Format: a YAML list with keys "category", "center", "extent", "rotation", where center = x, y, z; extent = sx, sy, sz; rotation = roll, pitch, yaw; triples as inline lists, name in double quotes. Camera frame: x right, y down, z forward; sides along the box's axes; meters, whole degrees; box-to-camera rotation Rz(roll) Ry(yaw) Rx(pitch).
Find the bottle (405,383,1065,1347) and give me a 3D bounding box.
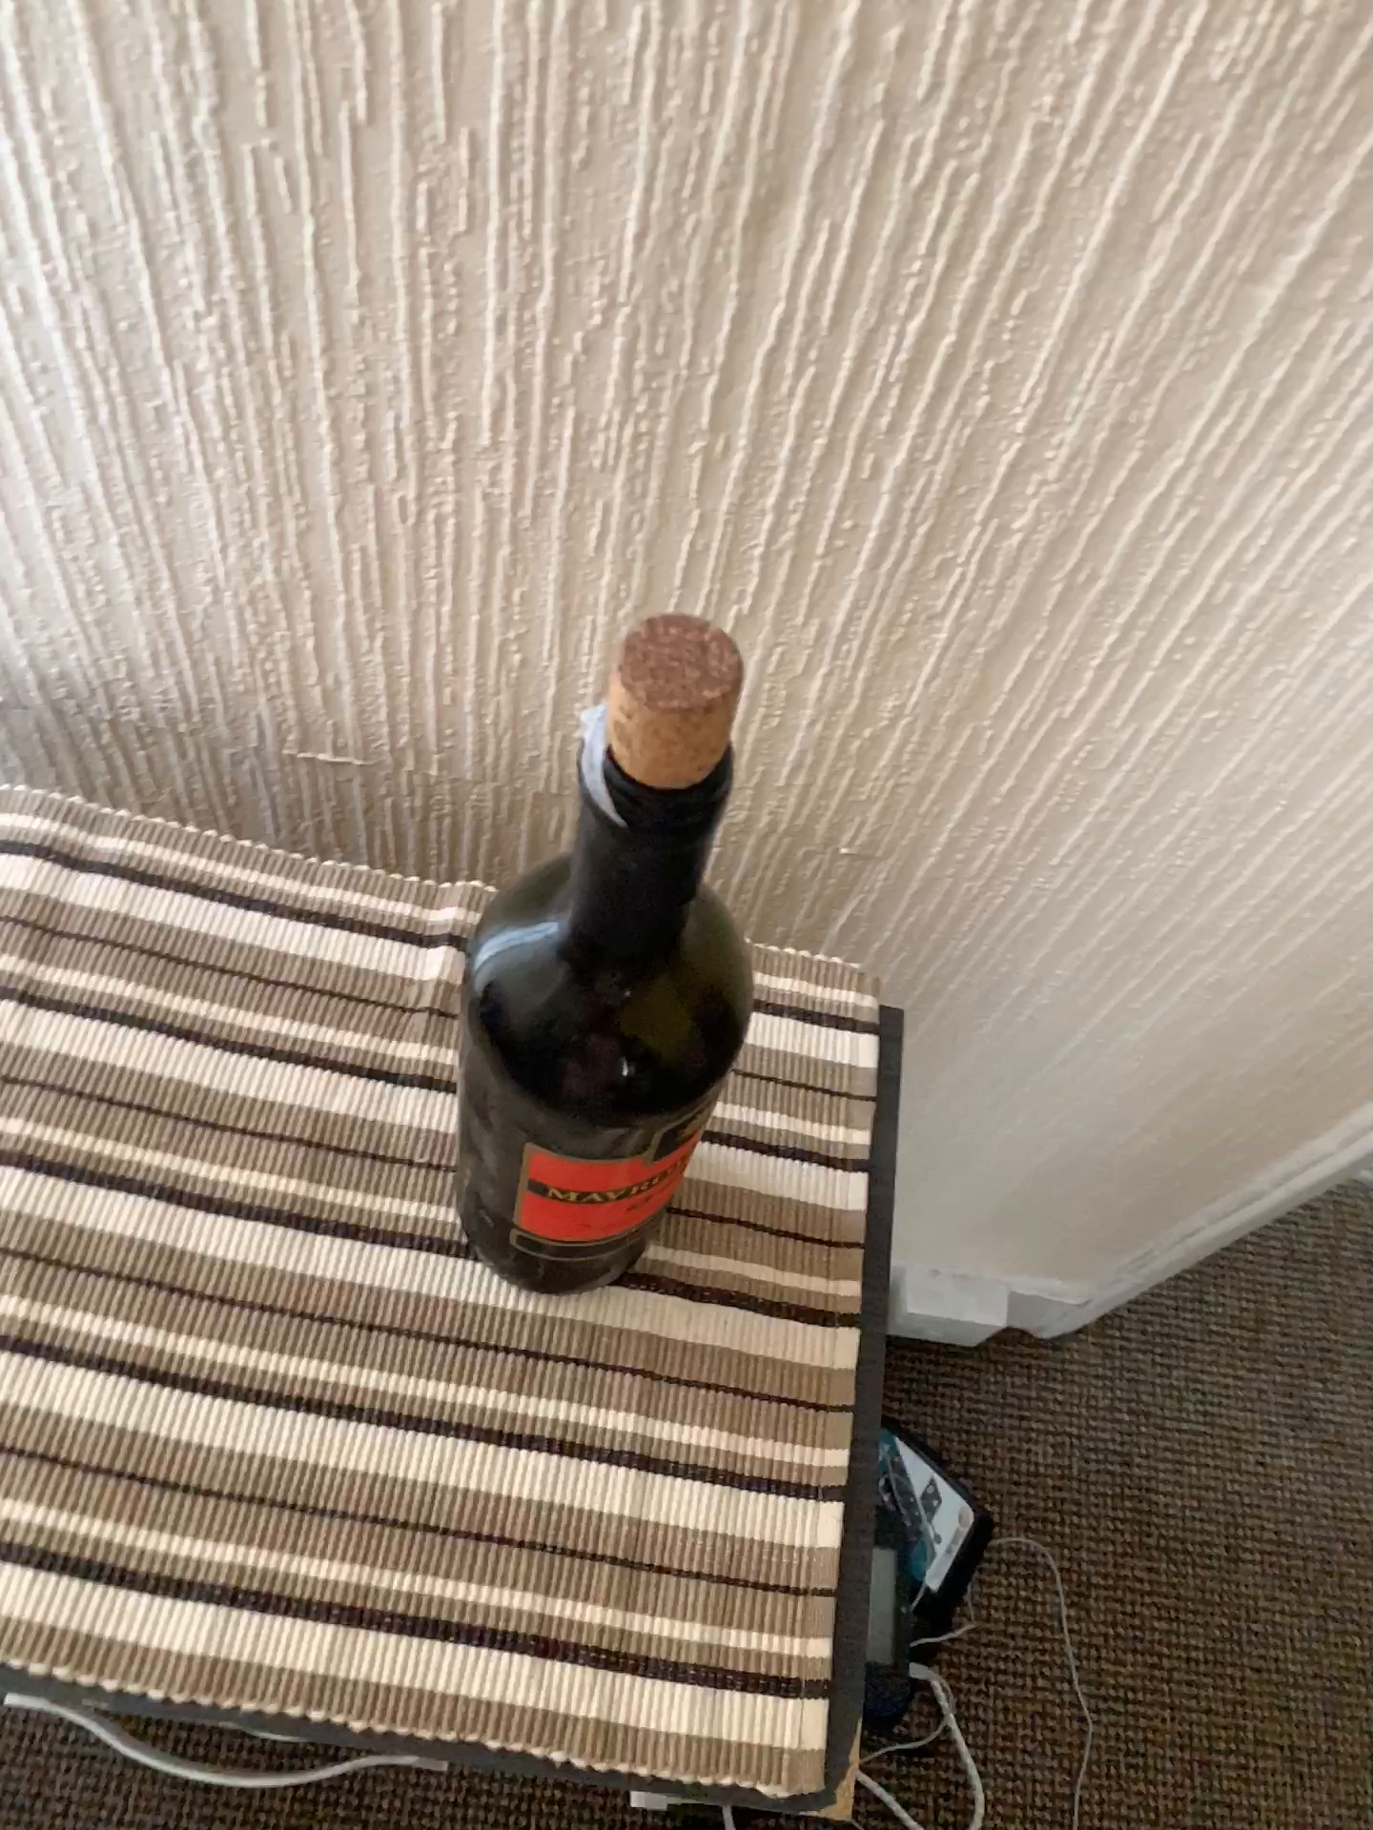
- category: "bottle"
  center: [-0.014, 0.025, 0.375]
  extent: [0.080, 0.318, 0.080]
  rotation: [4, 61, -8]
